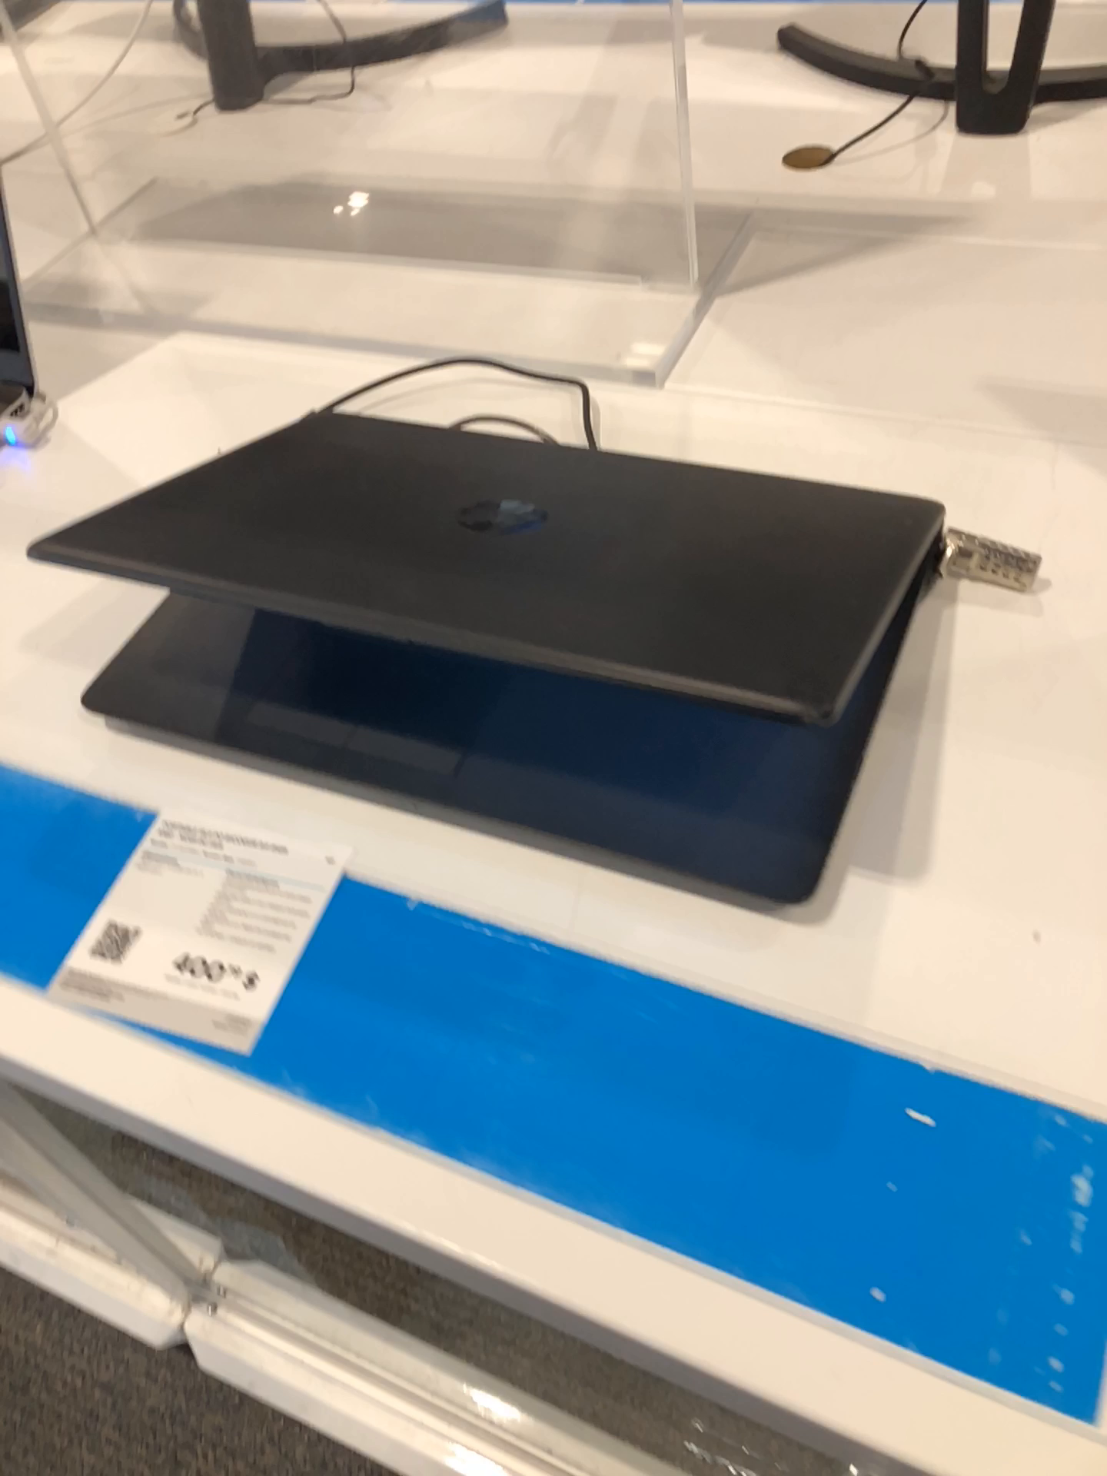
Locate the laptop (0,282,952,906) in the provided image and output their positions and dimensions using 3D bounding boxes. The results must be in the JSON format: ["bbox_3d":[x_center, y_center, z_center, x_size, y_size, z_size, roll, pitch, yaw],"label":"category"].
[{"bbox_3d":[-0.032,-0.089,0.565,0.366,0.092,0.235,14,53,18],"label":"laptop"}]
